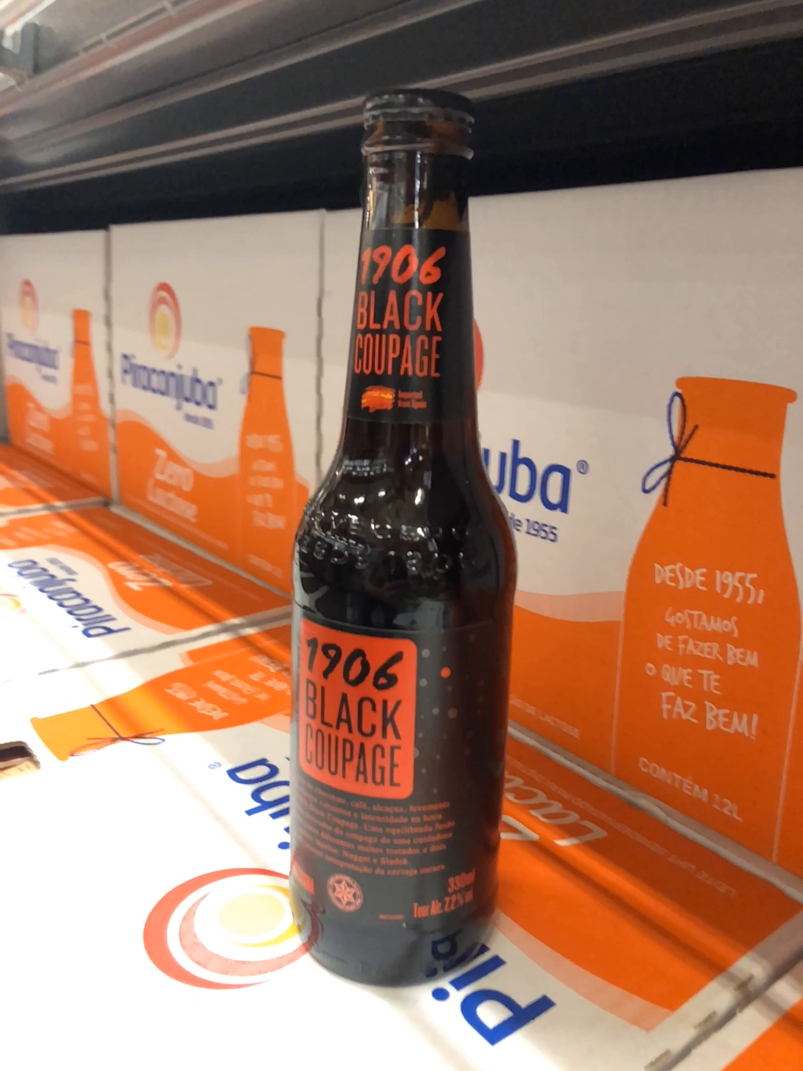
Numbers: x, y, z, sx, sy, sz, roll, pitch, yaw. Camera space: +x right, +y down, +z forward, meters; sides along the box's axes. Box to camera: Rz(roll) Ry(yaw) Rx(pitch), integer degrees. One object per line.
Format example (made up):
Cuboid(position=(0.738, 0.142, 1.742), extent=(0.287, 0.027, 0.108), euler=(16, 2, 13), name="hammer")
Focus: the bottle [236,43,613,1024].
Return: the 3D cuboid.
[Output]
Cuboid(position=(0.004, 0.003, 0.233), extent=(0.070, 0.219, 0.060), euler=(8, 15, 22), name="bottle")
